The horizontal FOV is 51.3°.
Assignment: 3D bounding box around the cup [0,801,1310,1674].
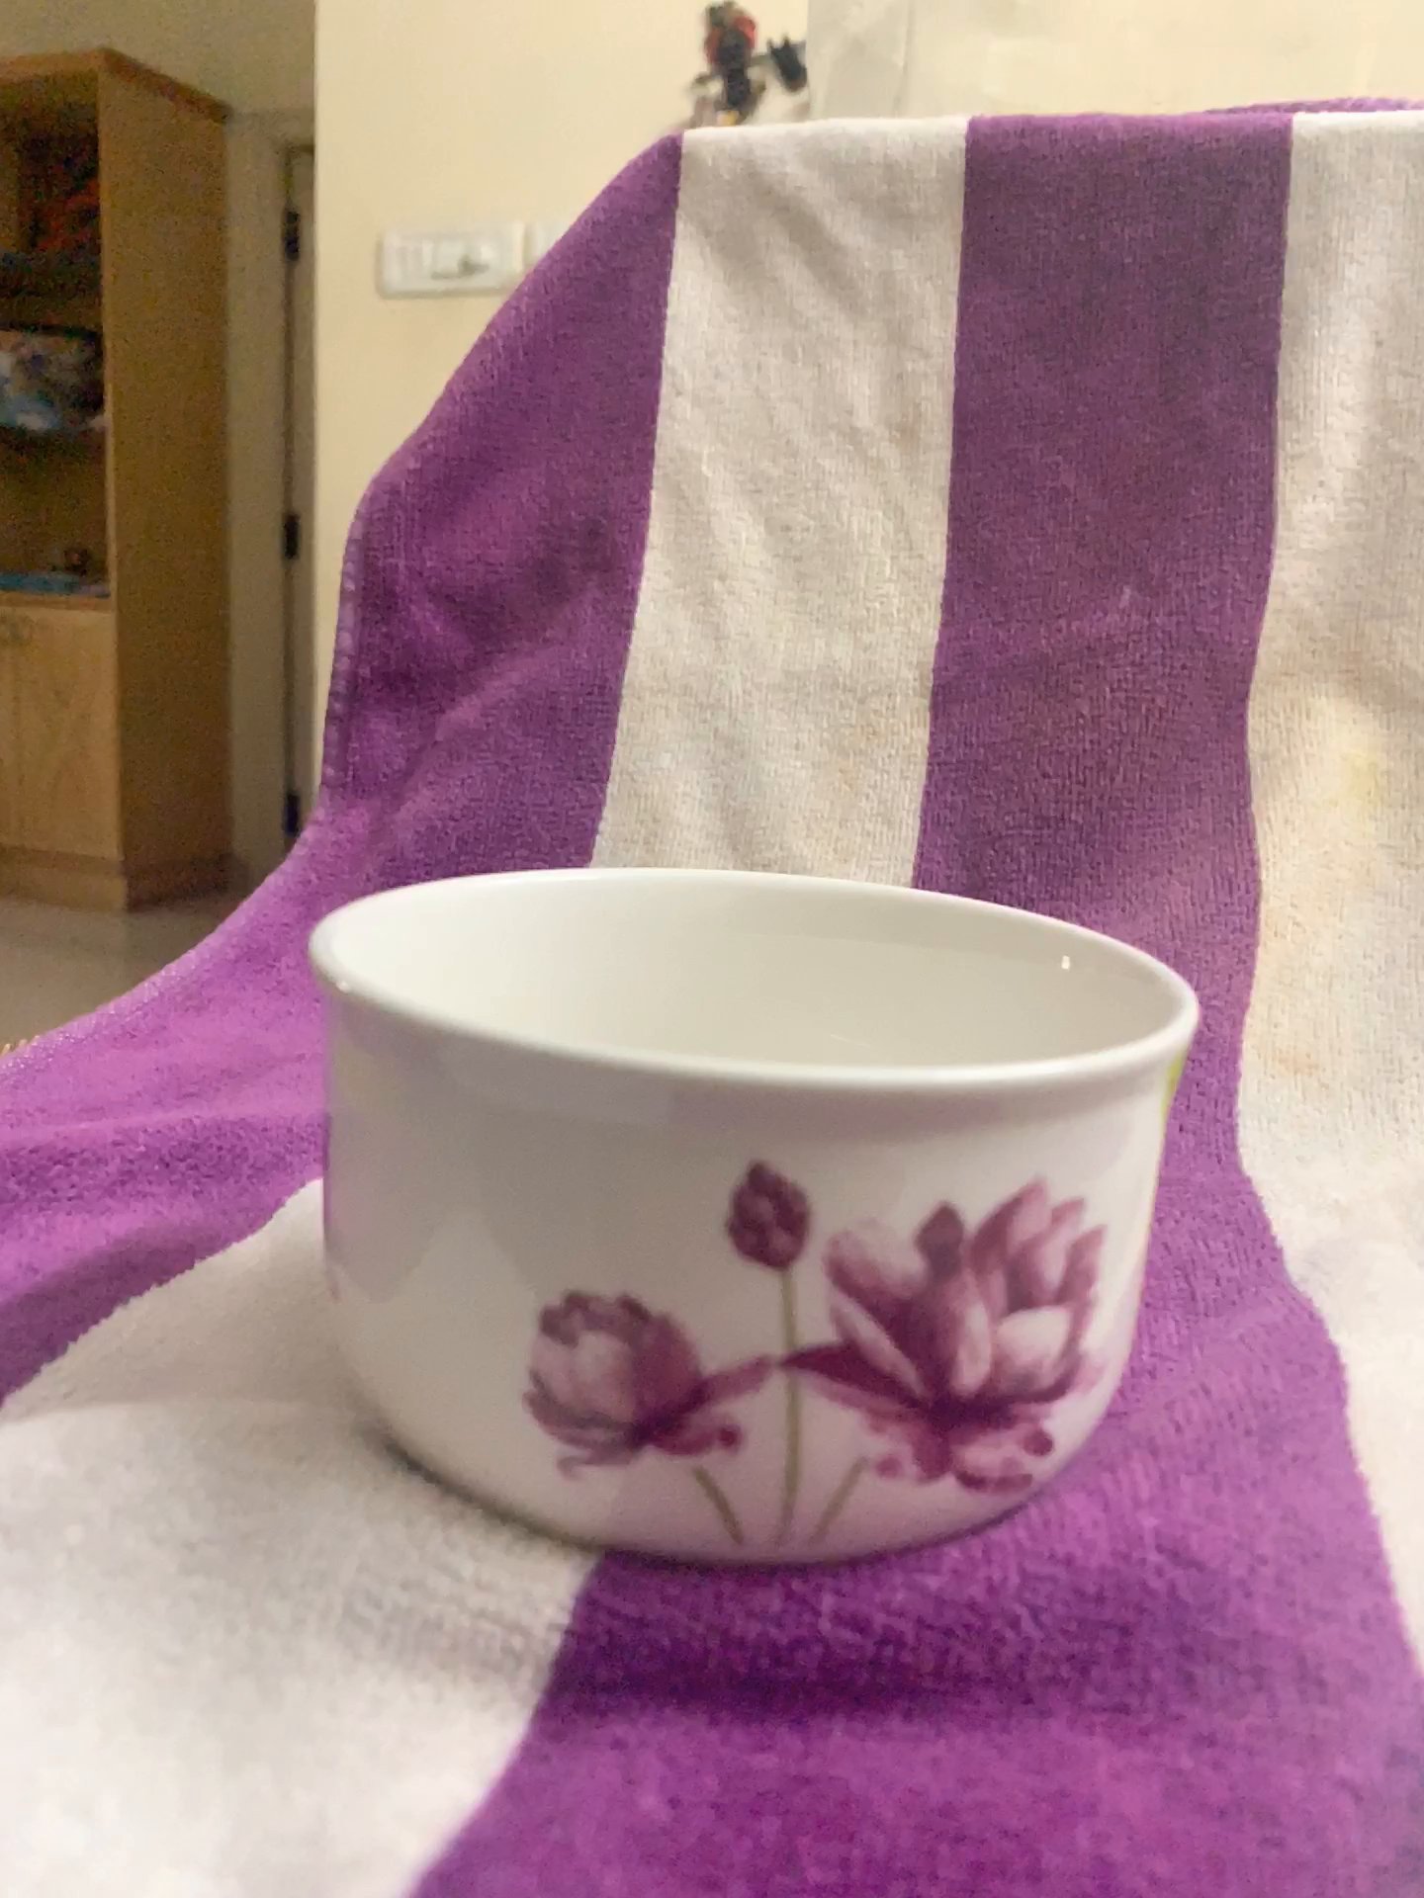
[{"bbox_3d":[-0.001,0.018,0.173,0.110,0.050,0.100,3,13,-1],"label":"cup"}]
